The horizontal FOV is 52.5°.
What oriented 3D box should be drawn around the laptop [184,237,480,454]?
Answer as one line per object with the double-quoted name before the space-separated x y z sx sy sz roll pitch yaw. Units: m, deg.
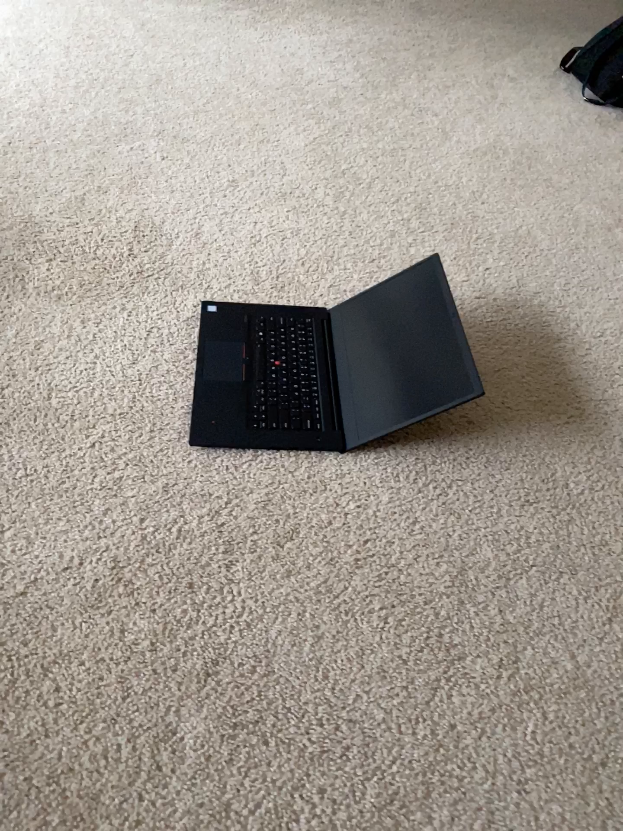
"laptop" 0.018 -0.127 1.082 0.432 0.141 0.361 2 48 -7
